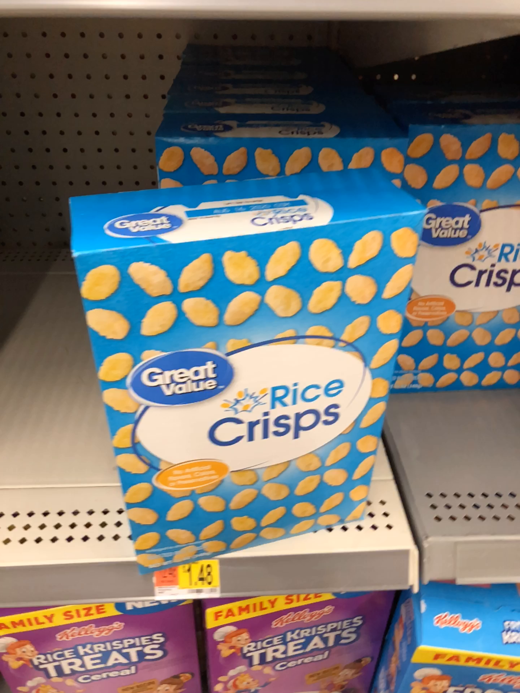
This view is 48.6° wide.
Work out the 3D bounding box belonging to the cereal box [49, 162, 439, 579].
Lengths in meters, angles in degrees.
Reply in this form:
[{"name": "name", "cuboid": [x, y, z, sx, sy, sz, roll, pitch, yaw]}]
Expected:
[{"name": "cereal box", "cuboid": [-0.011, 0.028, 0.395, 0.200, 0.269, 0.070, -10, 39, -13]}]
